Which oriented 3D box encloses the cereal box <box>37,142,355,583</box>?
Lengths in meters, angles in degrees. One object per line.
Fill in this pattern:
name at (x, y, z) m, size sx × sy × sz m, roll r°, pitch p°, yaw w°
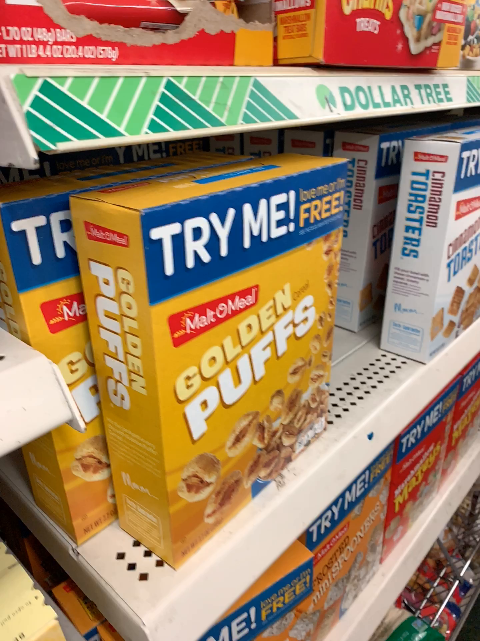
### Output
cereal box at (-0.007, 0.011, 0.323) m, size 0.060 × 0.219 × 0.191 m, roll 19°, pitch 32°, yaw 36°
